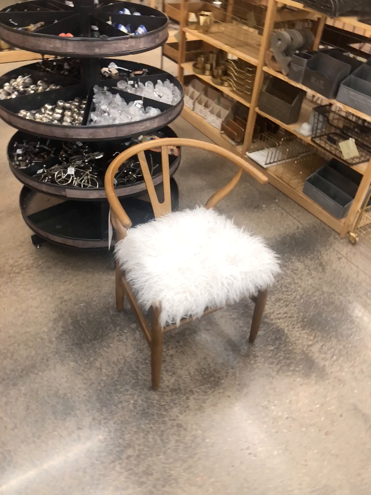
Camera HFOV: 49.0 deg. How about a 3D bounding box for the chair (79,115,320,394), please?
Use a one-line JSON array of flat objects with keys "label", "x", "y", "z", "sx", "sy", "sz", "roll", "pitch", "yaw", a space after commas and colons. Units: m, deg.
[{"label": "chair", "x": 0.003, "y": 0.013, "z": 1.492, "sx": 0.558, "sy": 0.732, "sz": 0.530, "roll": -17, "pitch": 45, "yaw": -23}]
